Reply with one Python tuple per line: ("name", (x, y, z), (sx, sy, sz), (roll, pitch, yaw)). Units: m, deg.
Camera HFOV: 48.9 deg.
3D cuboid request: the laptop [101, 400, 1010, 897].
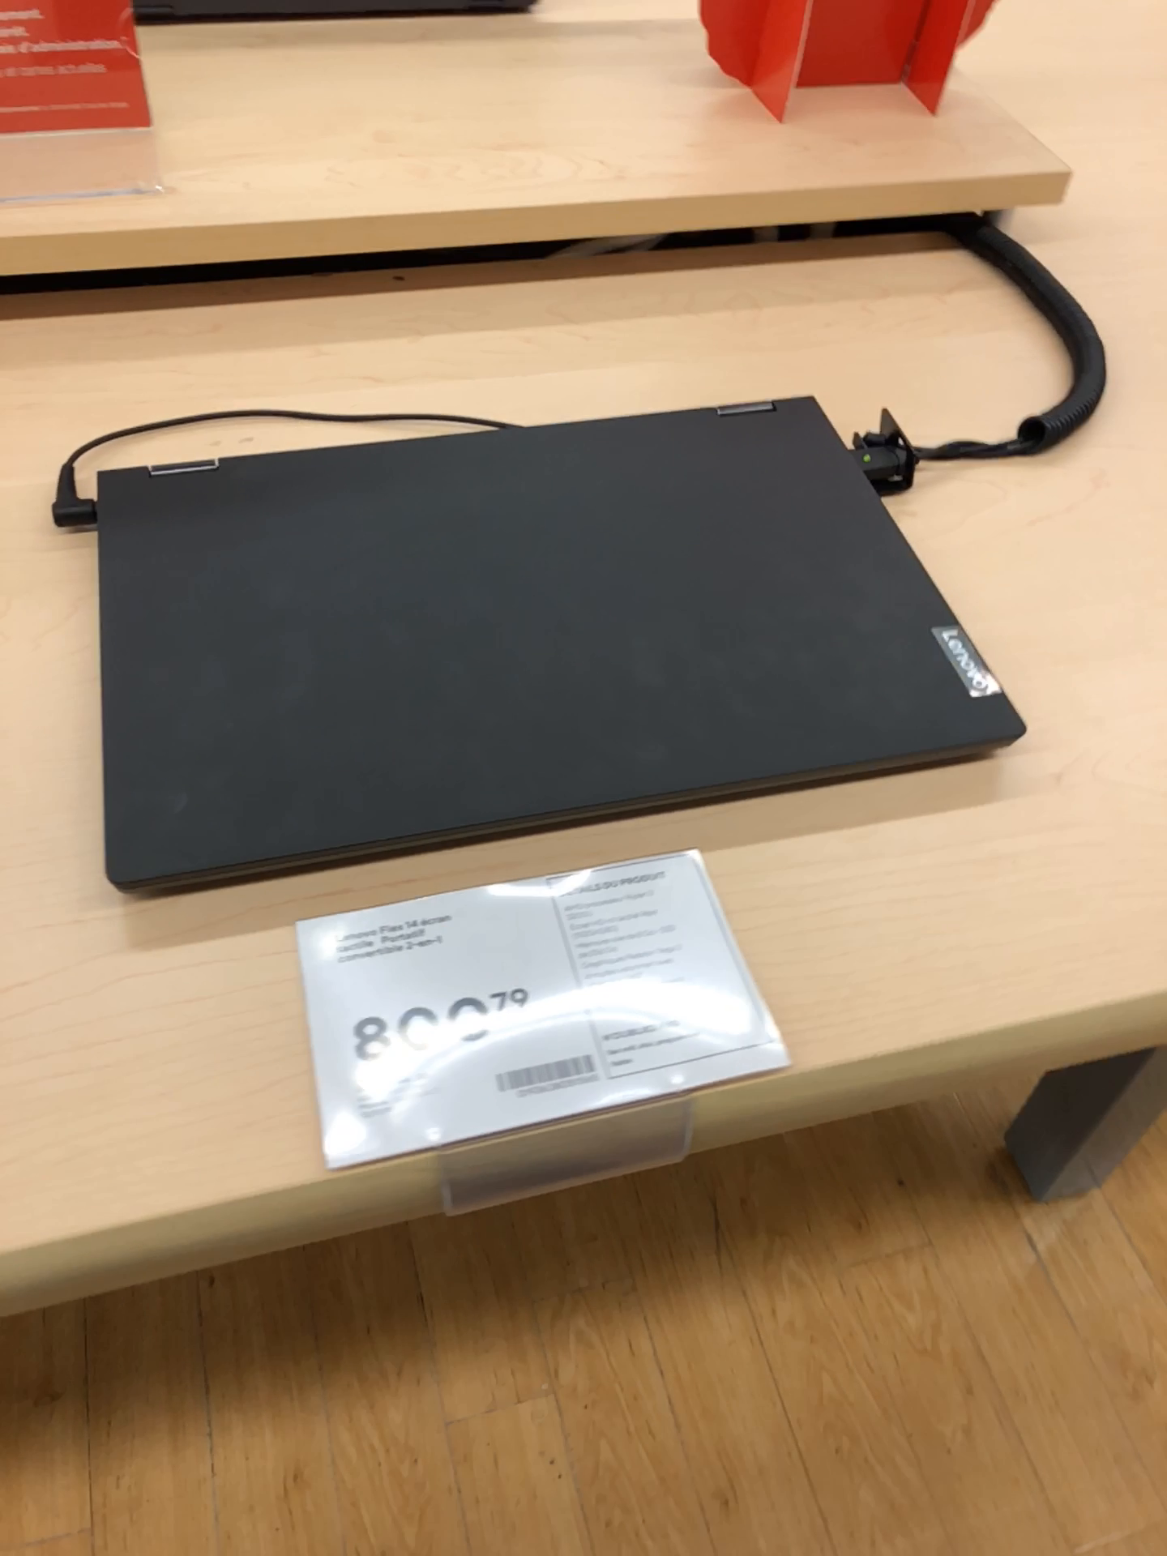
("laptop", (-0.020, -0.071, 0.515), (0.326, 0.009, 0.212), (-9, 52, -13))
